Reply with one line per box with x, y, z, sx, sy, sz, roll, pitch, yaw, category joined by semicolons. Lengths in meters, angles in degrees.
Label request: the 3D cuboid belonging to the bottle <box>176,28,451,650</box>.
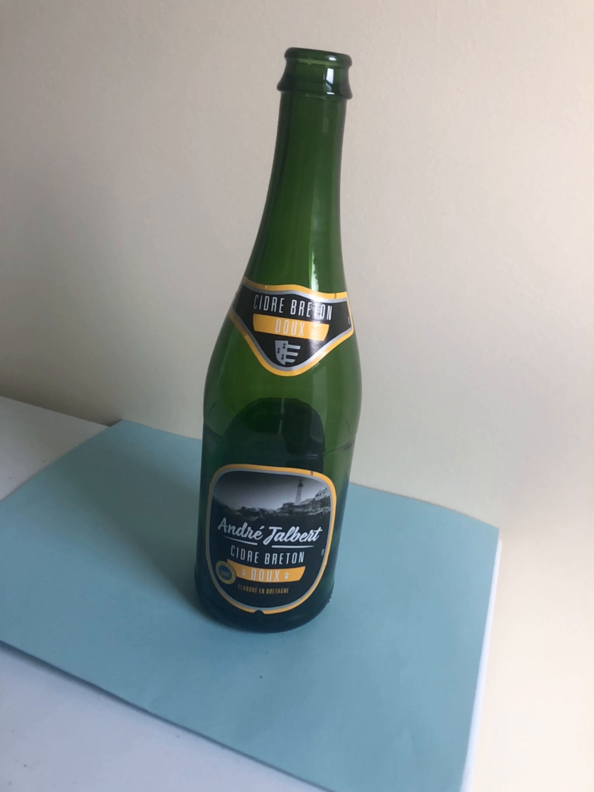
-0.002;-0.015;0.323;0.090;0.278;0.080;7;25;1;bottle
